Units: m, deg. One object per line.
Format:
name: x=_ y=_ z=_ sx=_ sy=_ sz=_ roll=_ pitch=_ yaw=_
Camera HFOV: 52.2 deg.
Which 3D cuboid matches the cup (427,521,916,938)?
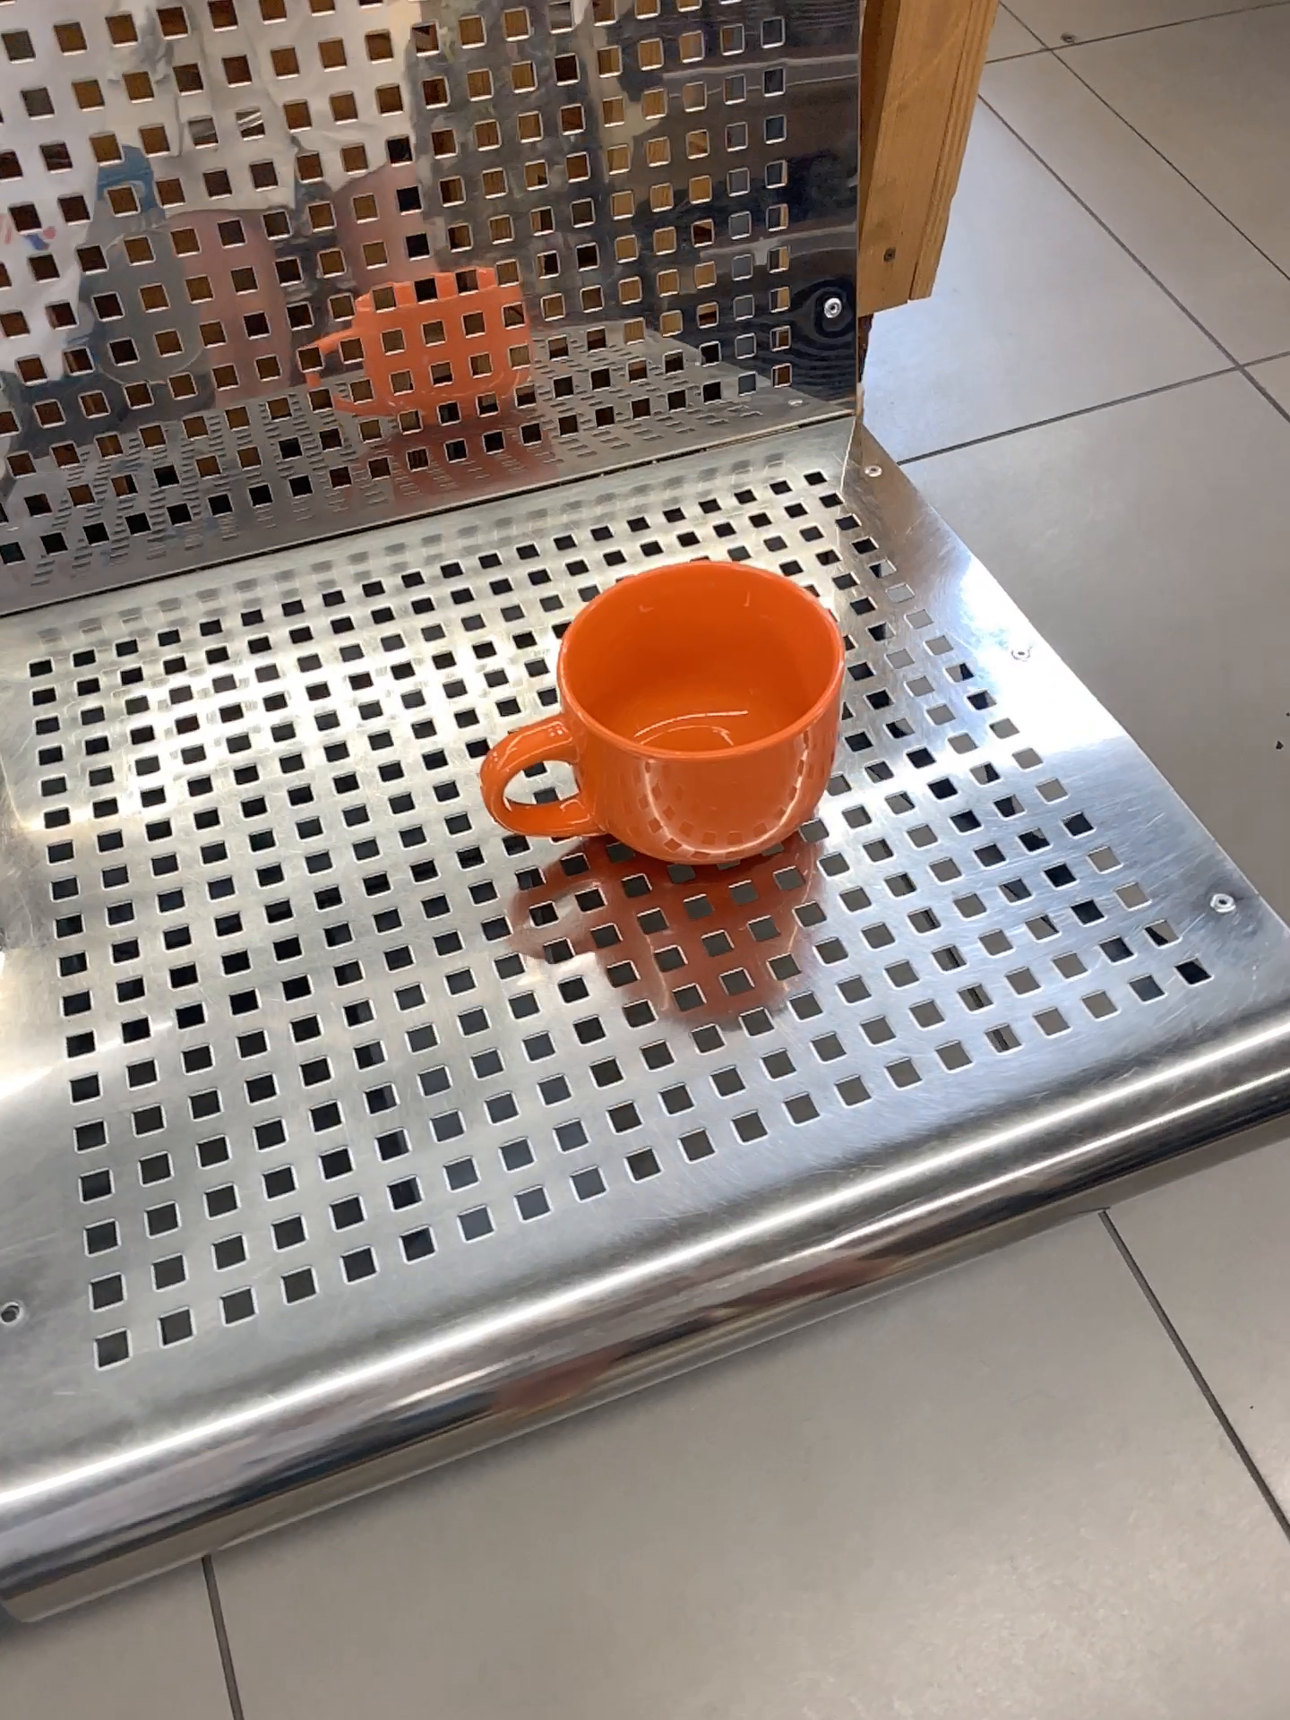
cup: x=0.008 y=-0.055 z=0.512 sx=0.150 sy=0.070 sz=0.110 roll=-18 pitch=50 yaw=-12
